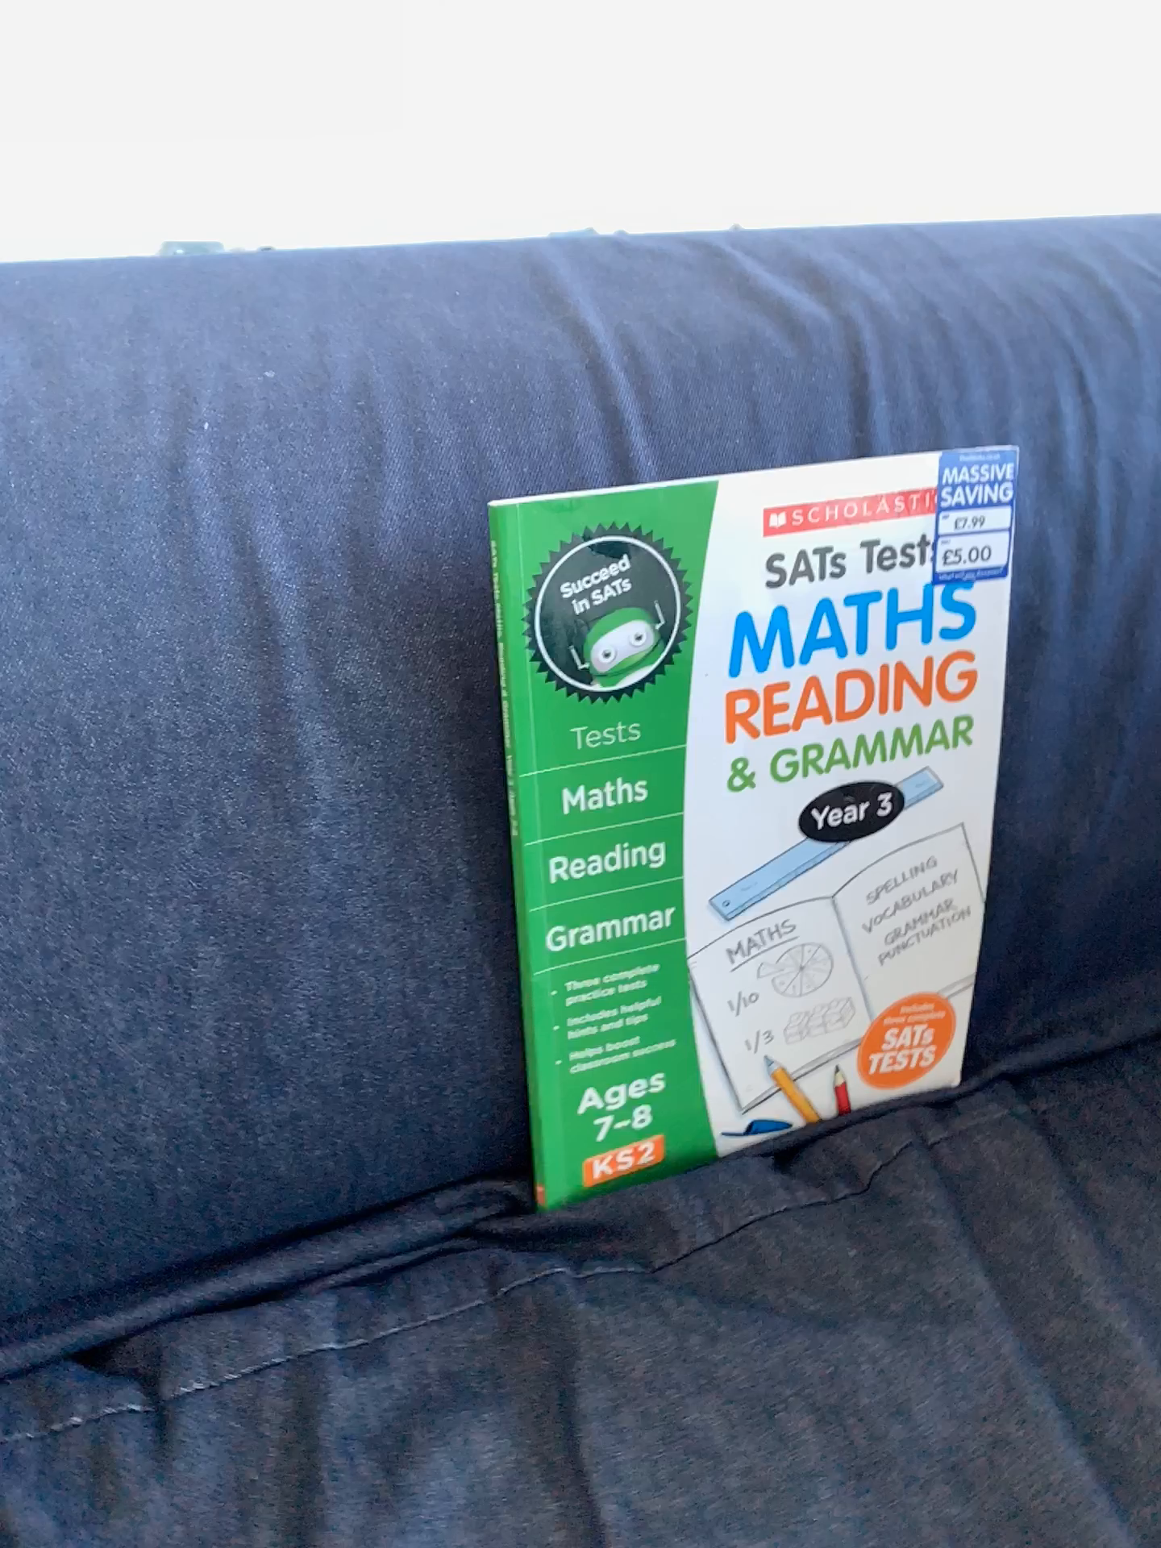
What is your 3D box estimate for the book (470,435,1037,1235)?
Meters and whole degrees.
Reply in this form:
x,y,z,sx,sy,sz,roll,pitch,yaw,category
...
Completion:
x,y,z,sx,sy,sz,roll,pitch,yaw,category
0.071,0.029,0.468,0.209,0.293,0.022,-11,25,-19,book
